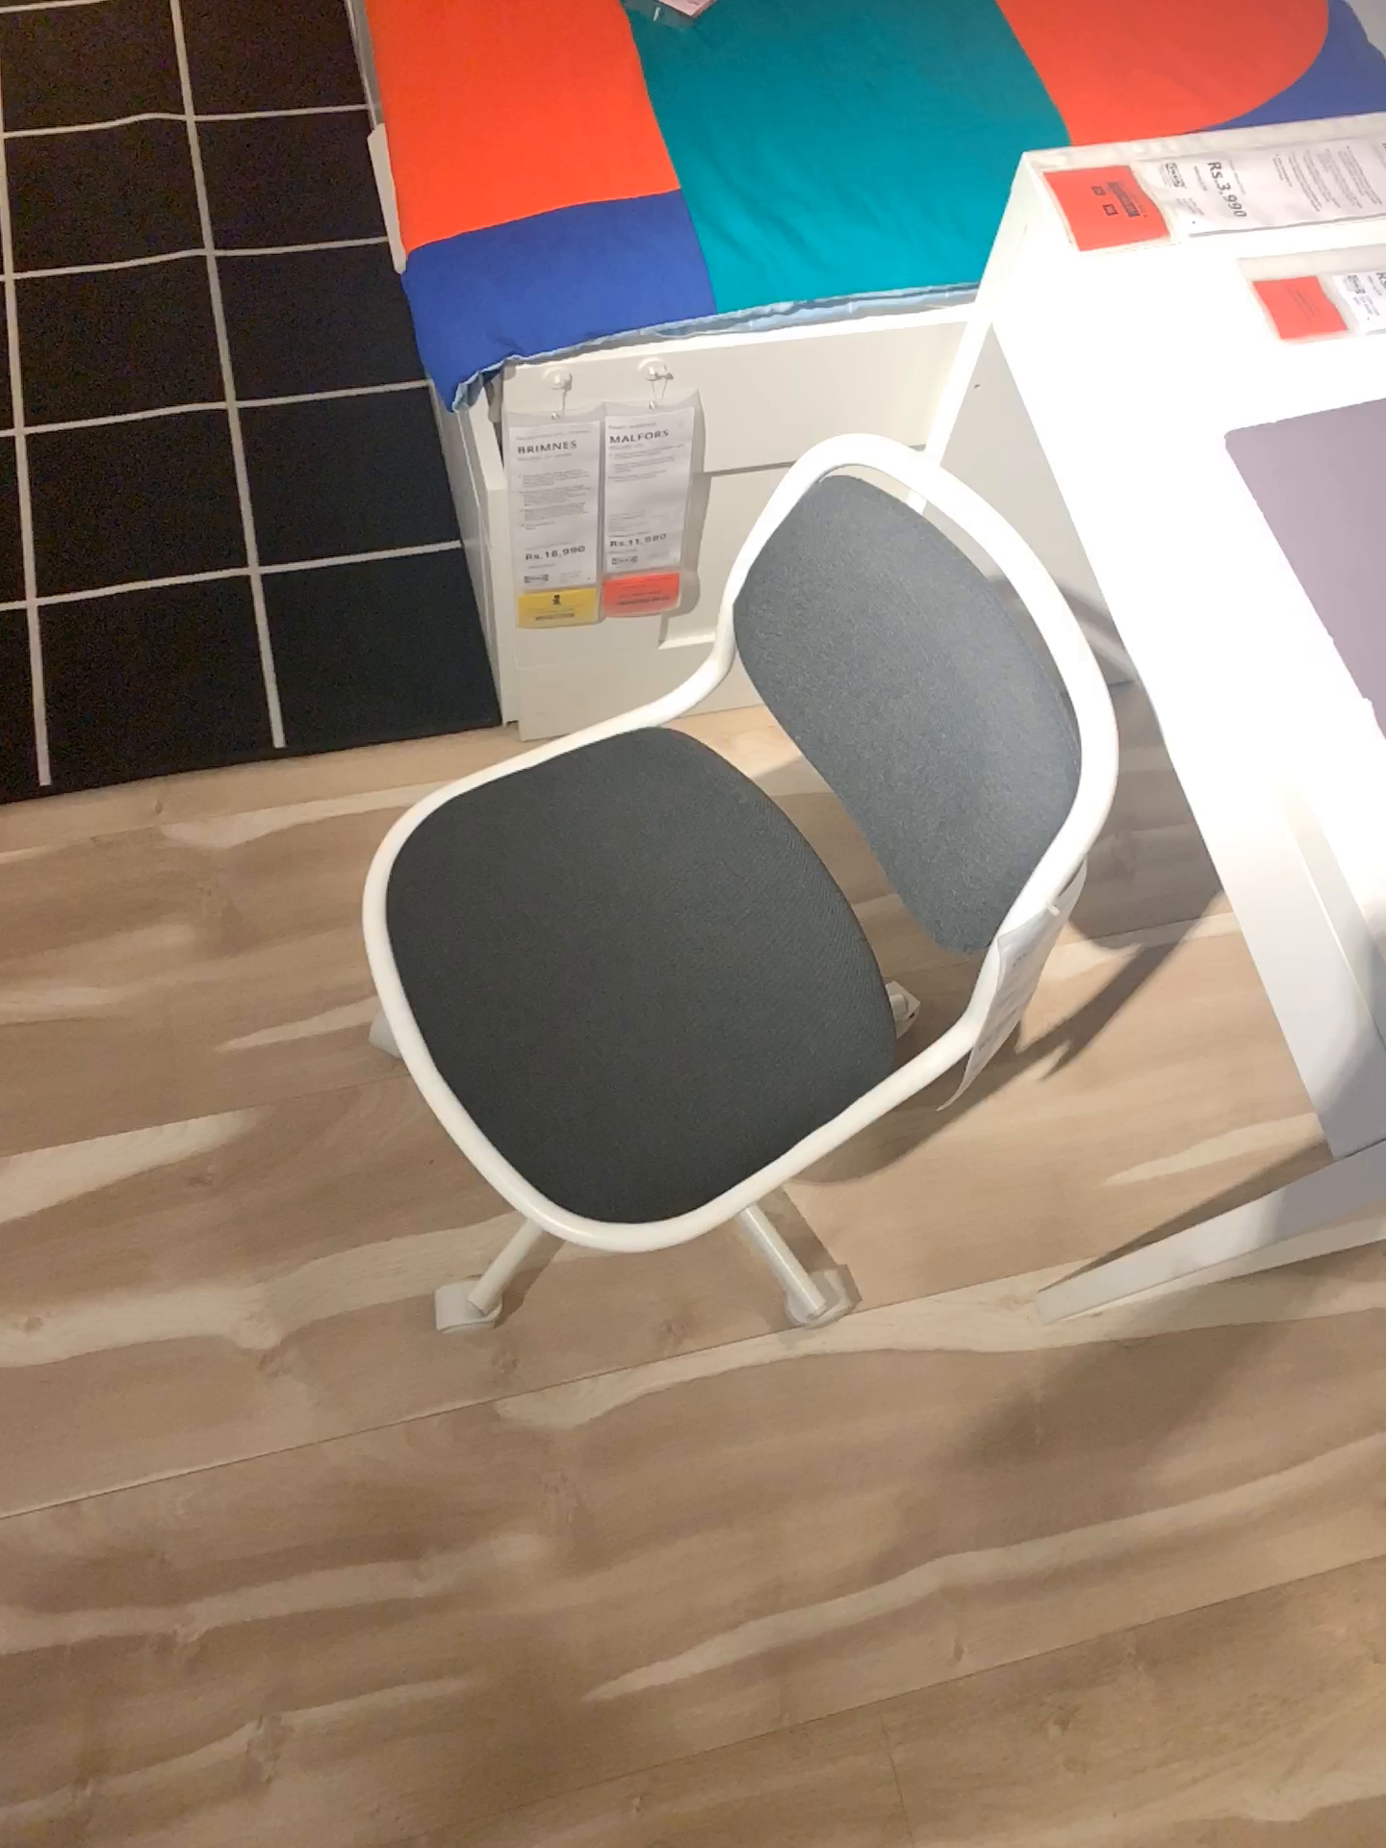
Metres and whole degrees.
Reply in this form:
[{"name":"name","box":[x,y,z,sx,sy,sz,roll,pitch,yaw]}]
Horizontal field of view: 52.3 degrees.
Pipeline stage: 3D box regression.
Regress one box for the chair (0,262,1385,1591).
[{"name":"chair","box":[0.002,0.051,1.086,0.620,0.659,0.550,-31,73,-16]}]
